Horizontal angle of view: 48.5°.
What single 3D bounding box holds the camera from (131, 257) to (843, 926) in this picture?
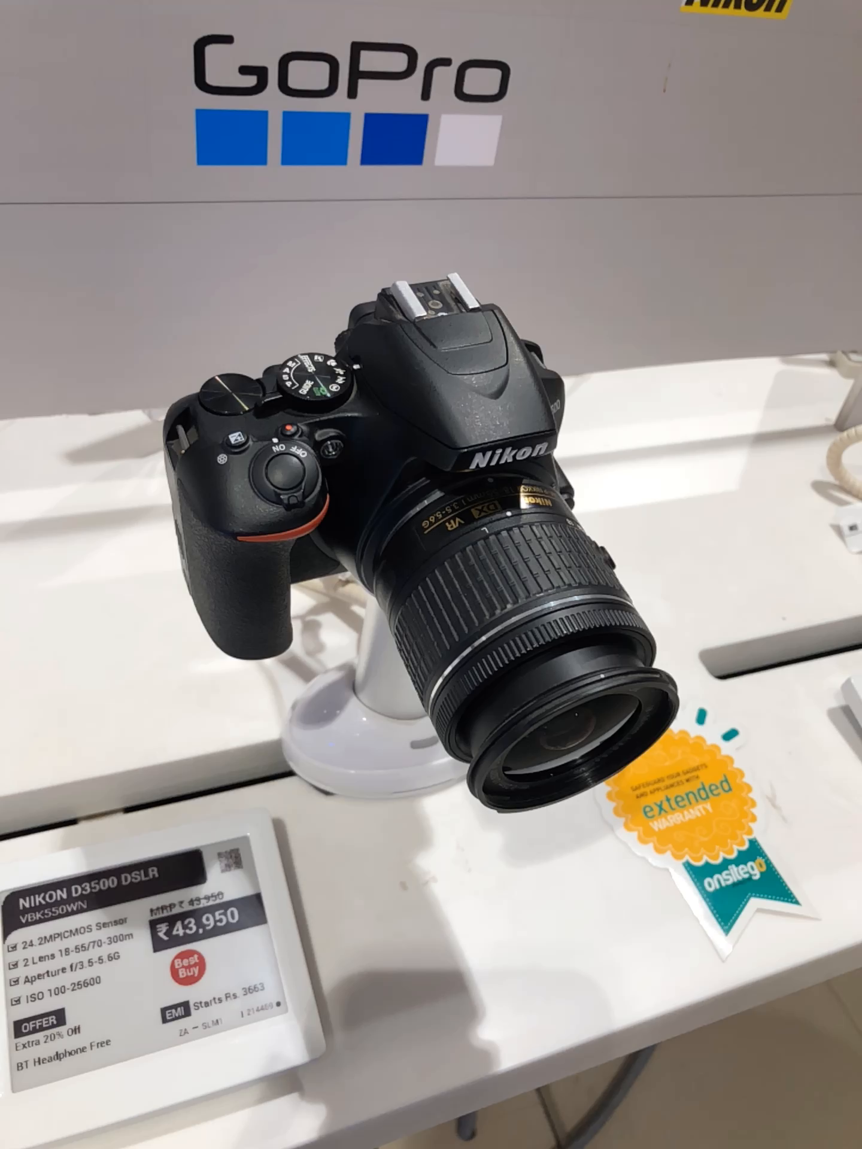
[{"bbox_3d":[0.001,-0.005,0.246,0.120,0.089,0.121,-13,51,-23],"label":"camera"}]
